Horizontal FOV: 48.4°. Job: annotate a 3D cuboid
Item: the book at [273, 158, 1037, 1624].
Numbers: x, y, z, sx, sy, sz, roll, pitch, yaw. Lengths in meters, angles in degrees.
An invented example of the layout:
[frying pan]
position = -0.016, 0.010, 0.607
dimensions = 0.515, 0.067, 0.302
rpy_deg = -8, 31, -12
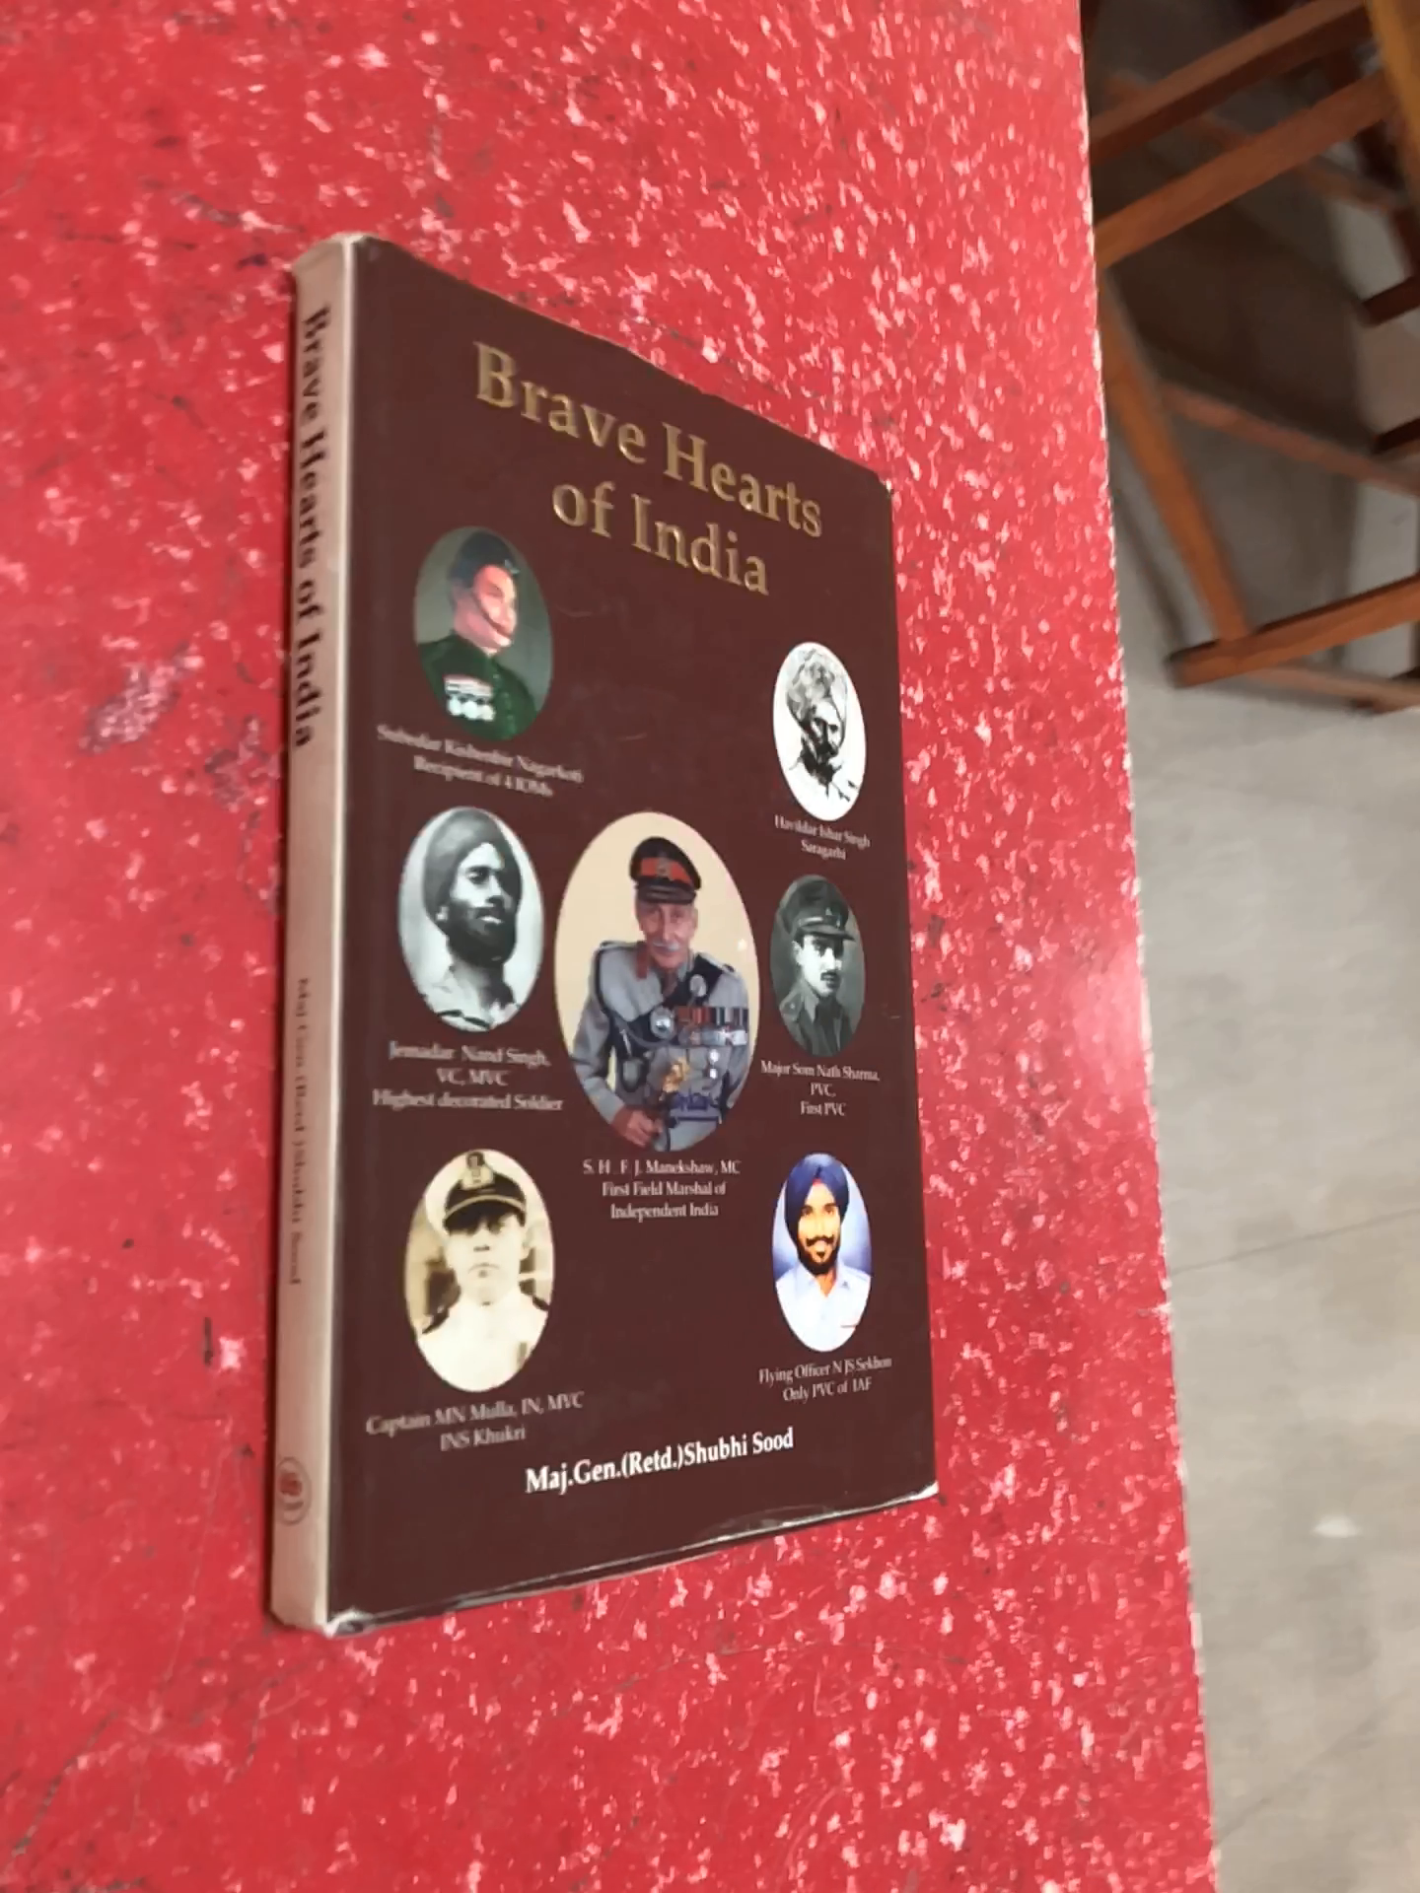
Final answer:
[book]
position = -0.004, -0.008, 0.294
dimensions = 0.151, 0.030, 0.220
rpy_deg = 7, 76, -43
